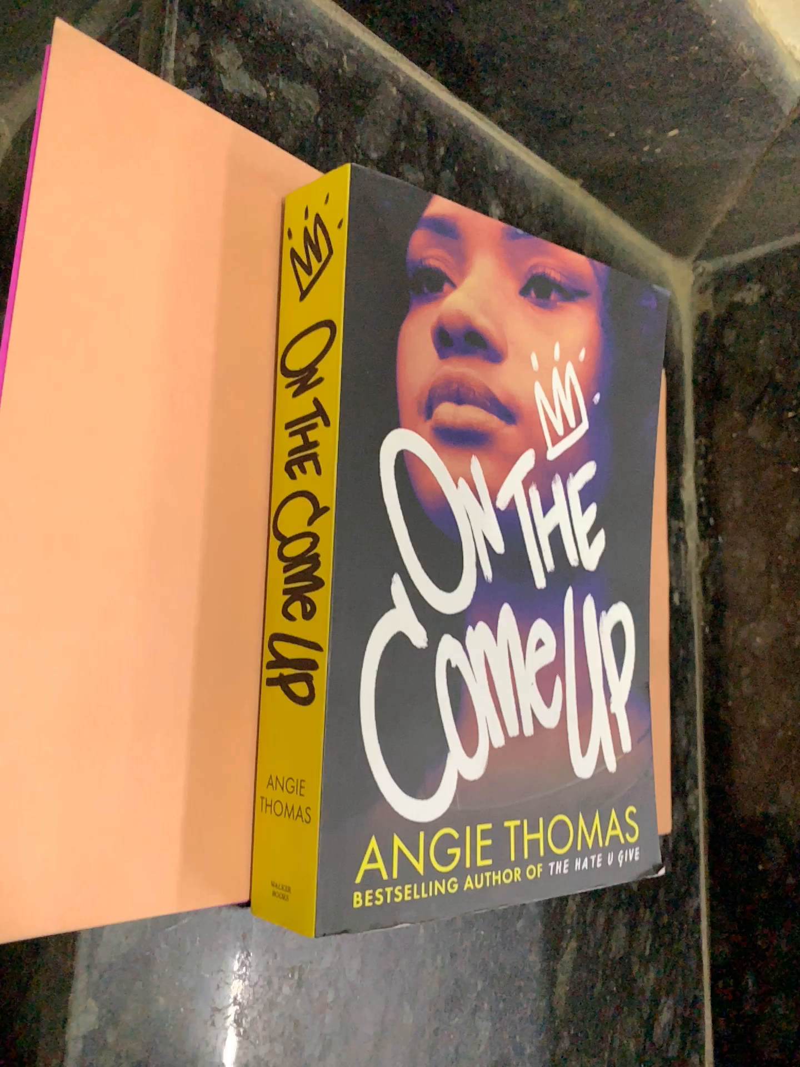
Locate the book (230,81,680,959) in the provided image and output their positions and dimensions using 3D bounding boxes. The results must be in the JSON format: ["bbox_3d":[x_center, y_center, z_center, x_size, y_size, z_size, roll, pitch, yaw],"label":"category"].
[{"bbox_3d":[0.024,-0.002,0.243,0.131,0.040,0.200,9,78,-39],"label":"book"}]
